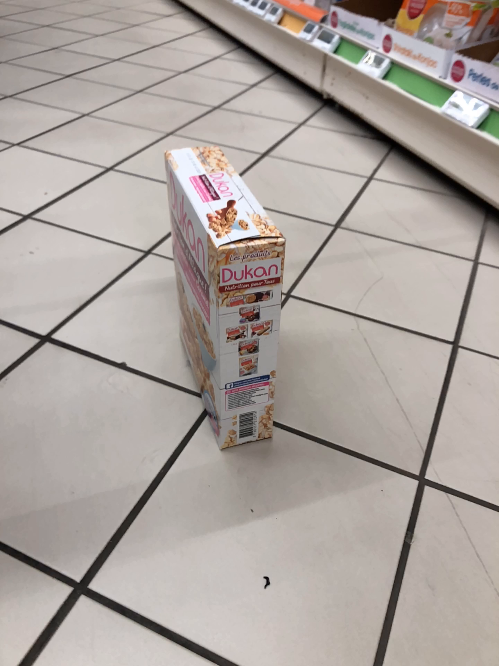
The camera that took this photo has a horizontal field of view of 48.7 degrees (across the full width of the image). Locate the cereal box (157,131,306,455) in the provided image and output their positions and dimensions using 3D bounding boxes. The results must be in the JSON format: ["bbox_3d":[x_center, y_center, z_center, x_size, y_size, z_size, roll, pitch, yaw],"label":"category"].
[{"bbox_3d":[-0.028,-0.039,0.473,0.060,0.199,0.191,-9,40,-16],"label":"cereal box"}]
